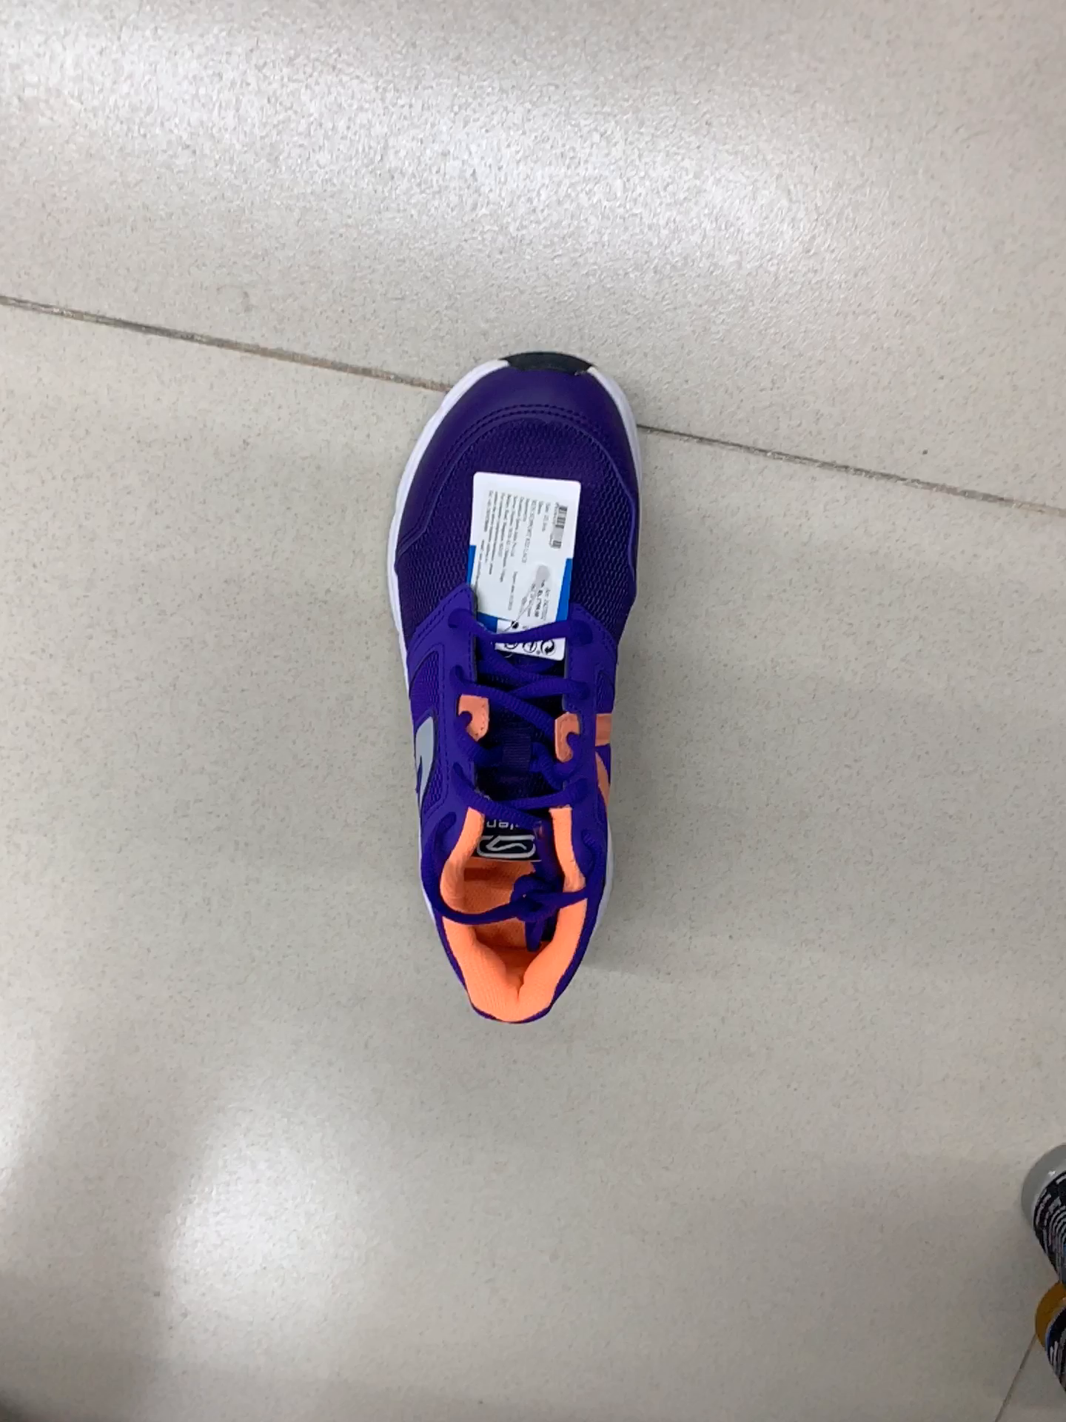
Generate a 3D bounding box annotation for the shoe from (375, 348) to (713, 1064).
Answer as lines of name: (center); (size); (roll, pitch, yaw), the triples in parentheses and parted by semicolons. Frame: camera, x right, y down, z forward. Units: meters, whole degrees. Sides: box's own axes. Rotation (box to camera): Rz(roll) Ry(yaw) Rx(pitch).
shoe: (0.001, -0.003, 0.411); (0.100, 0.100, 0.251); (0, 109, -1)
